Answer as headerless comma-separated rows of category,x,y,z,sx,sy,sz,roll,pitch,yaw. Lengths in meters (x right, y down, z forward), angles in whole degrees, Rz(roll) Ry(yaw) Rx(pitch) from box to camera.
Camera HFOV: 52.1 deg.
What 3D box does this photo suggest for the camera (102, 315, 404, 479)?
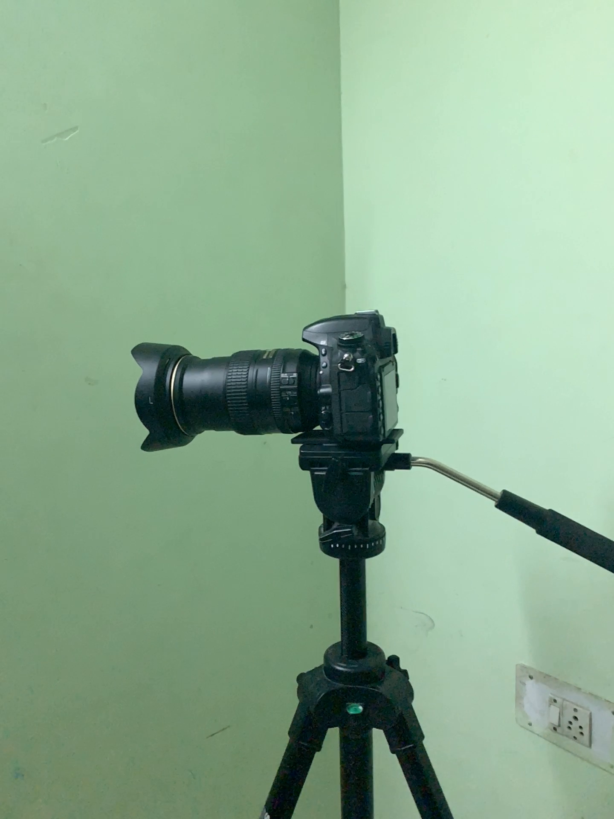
camera,-0.041,-0.022,0.621,0.250,0.132,0.164,0,9,16
